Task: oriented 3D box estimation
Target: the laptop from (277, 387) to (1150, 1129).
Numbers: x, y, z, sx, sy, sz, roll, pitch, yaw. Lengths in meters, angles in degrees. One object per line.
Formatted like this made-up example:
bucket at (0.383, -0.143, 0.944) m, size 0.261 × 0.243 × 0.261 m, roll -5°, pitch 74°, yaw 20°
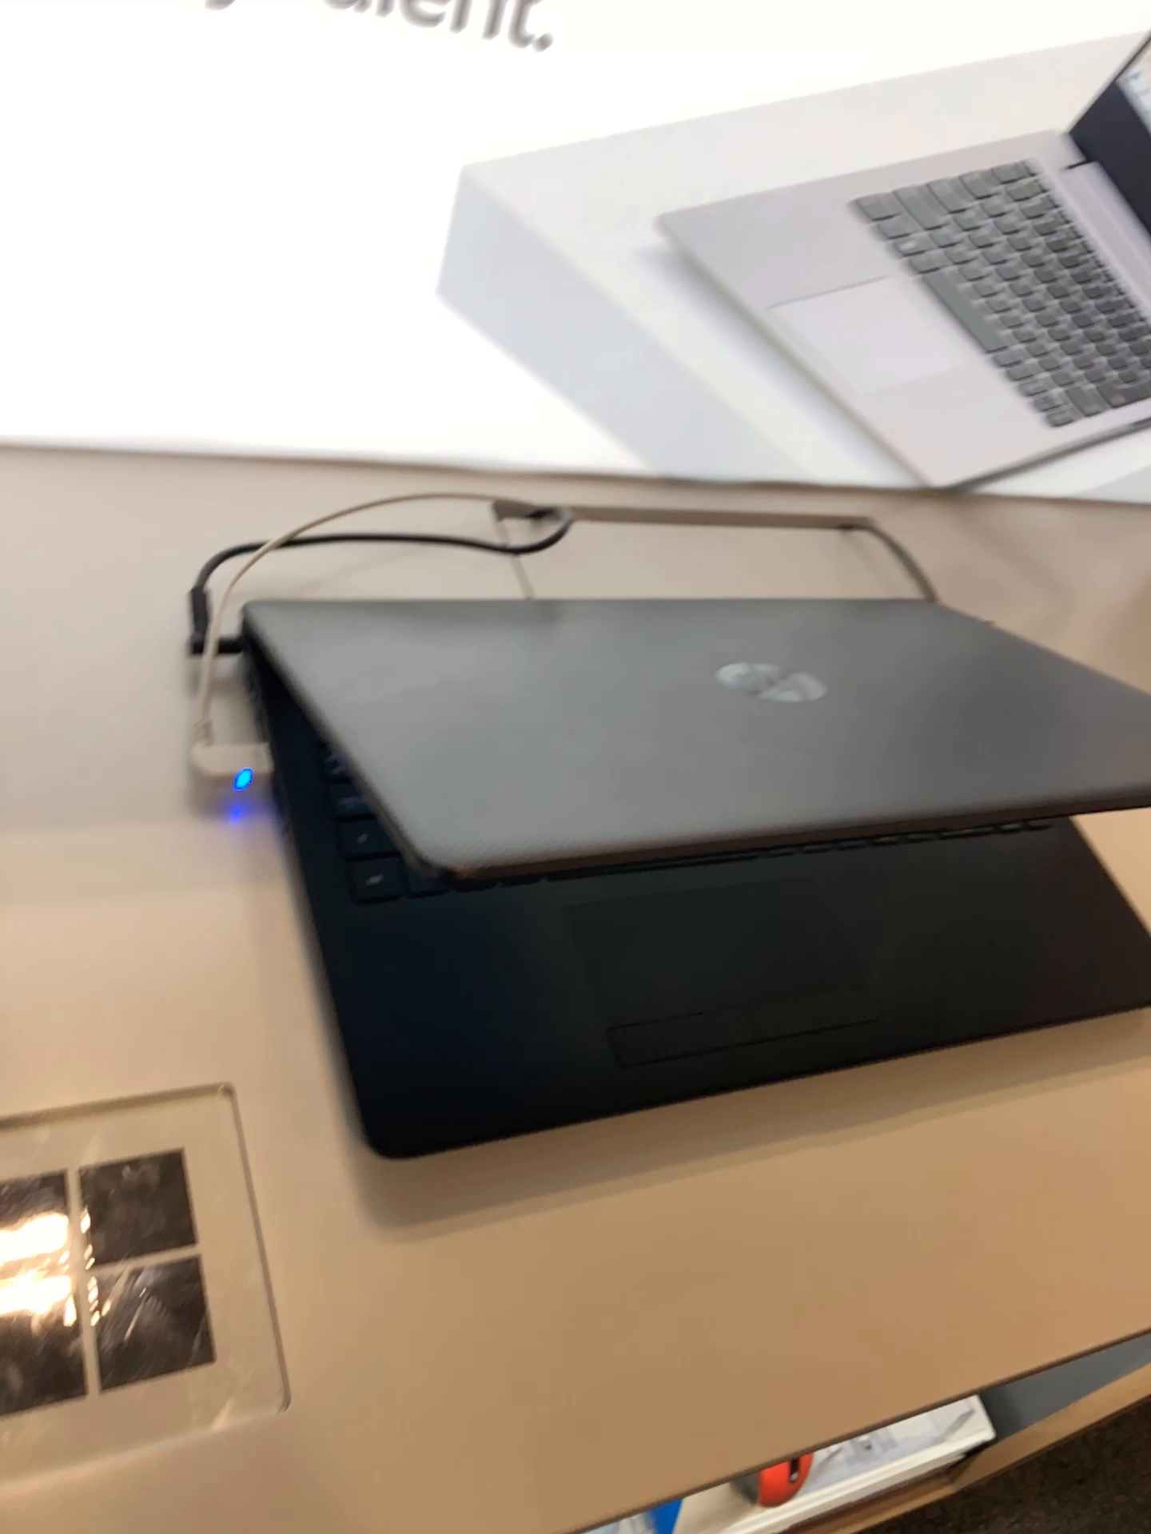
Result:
laptop at (0.087, -0.021, 0.506) m, size 0.352 × 0.107 × 0.239 m, roll -3°, pitch 51°, yaw -25°
